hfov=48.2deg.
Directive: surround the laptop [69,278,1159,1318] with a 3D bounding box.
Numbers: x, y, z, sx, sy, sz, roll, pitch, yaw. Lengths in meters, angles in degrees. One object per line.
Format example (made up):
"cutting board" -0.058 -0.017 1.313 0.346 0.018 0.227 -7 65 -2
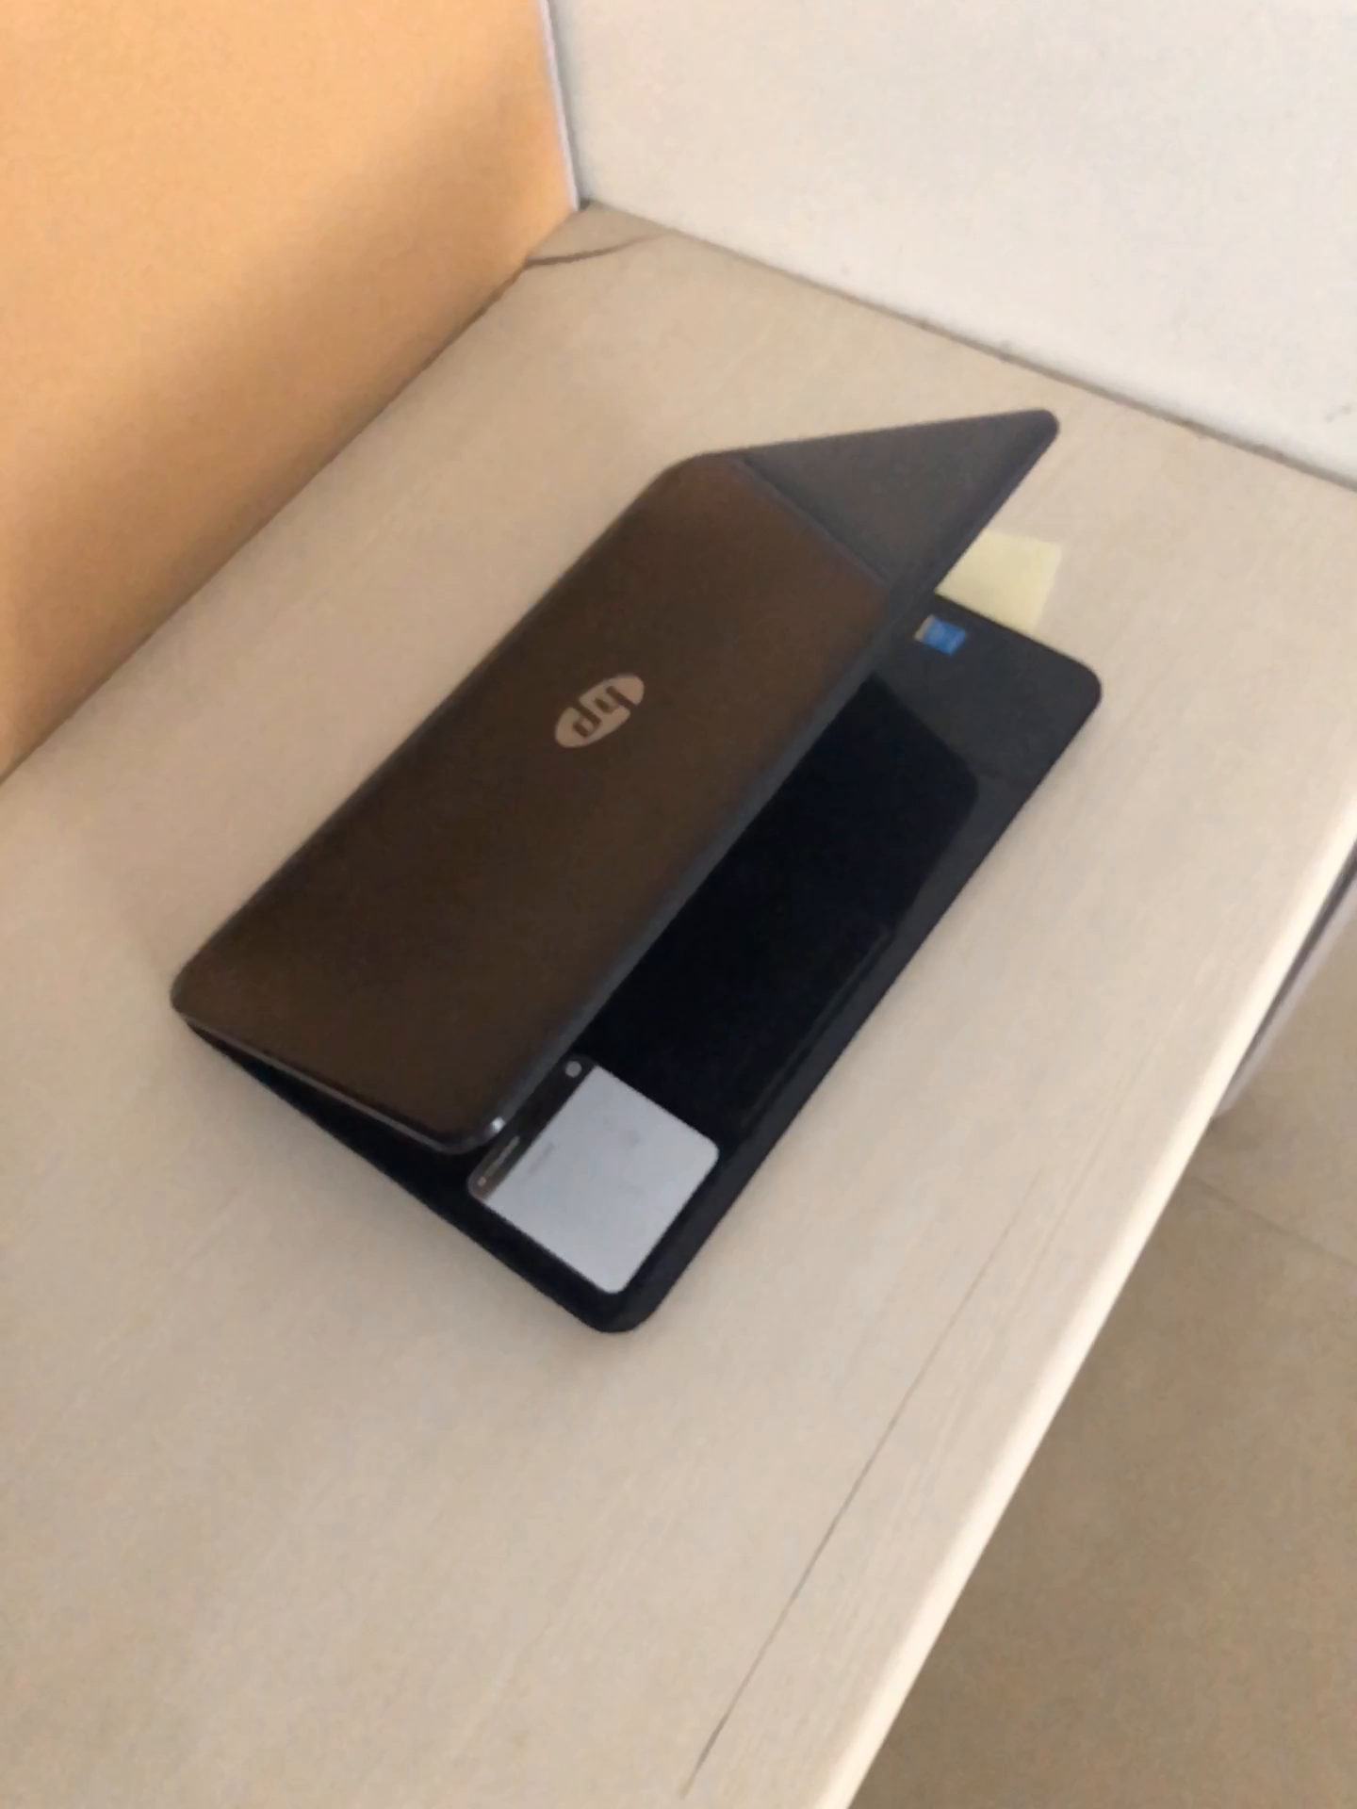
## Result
"laptop" -0.011 -0.058 0.609 0.224 0.131 0.353 32 68 21
